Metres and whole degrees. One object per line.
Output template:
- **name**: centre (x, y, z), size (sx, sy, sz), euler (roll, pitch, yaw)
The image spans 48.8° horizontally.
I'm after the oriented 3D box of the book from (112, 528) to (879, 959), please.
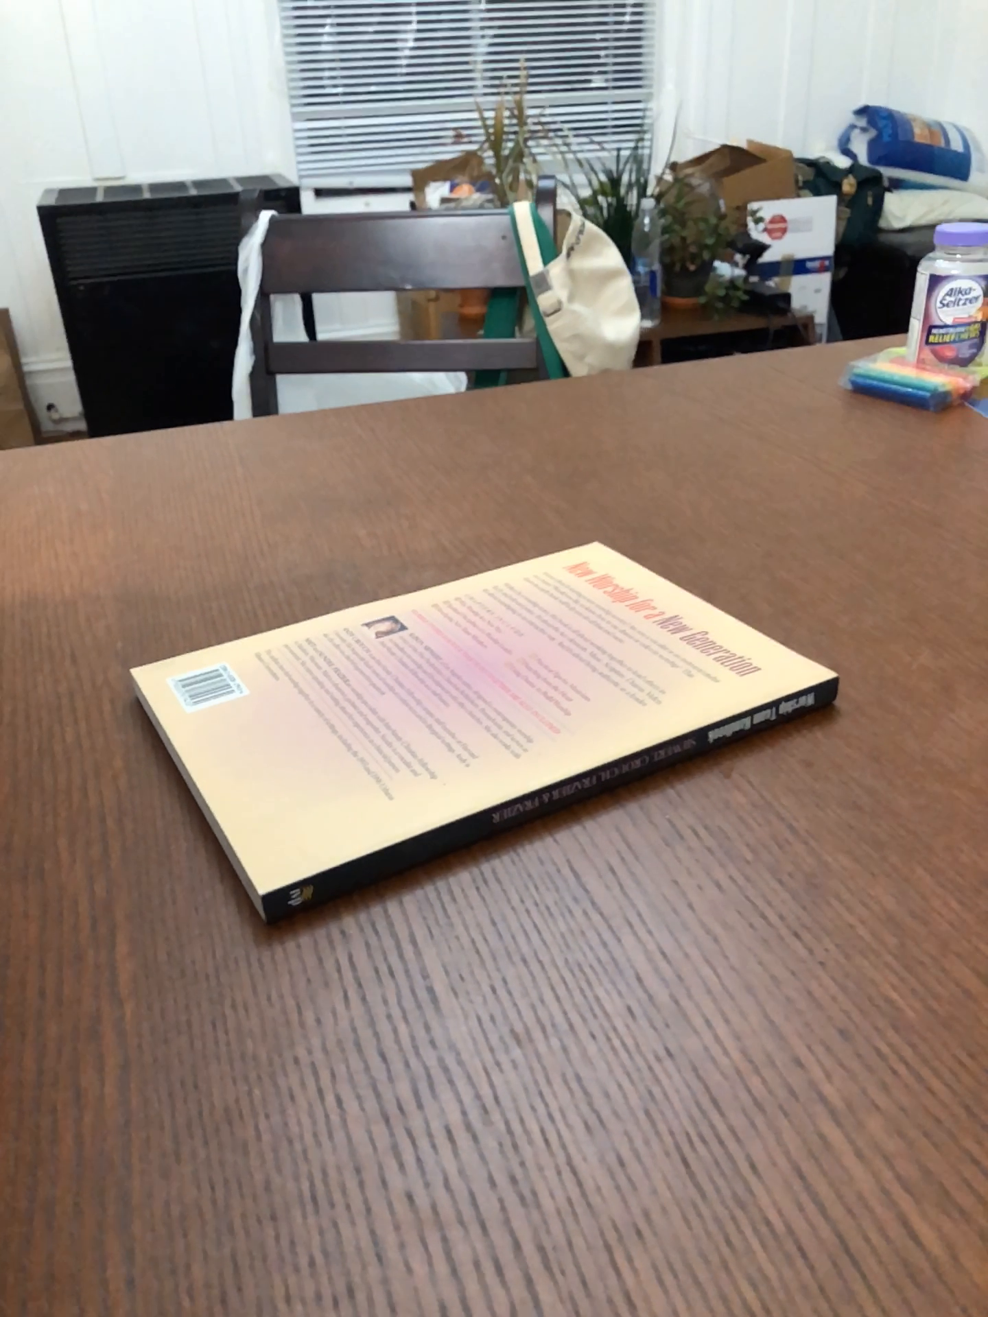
- **book**: centre (-0.005, 0.012, 0.471), size (0.271, 0.020, 0.191), euler (-17, 32, -25)
